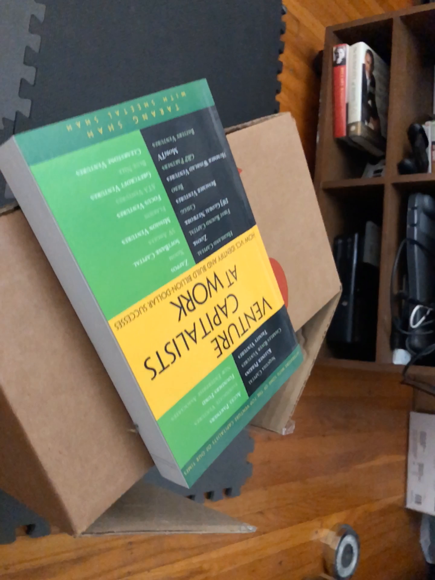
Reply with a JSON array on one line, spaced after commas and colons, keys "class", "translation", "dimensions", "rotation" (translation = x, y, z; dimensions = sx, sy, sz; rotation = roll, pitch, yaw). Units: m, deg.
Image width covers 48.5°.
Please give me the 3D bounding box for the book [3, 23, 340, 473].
[{"class": "book", "translation": [-0.006, -0.033, 0.338], "dimensions": [0.161, 0.040, 0.260], "rotation": [-37, 112, -40]}]
